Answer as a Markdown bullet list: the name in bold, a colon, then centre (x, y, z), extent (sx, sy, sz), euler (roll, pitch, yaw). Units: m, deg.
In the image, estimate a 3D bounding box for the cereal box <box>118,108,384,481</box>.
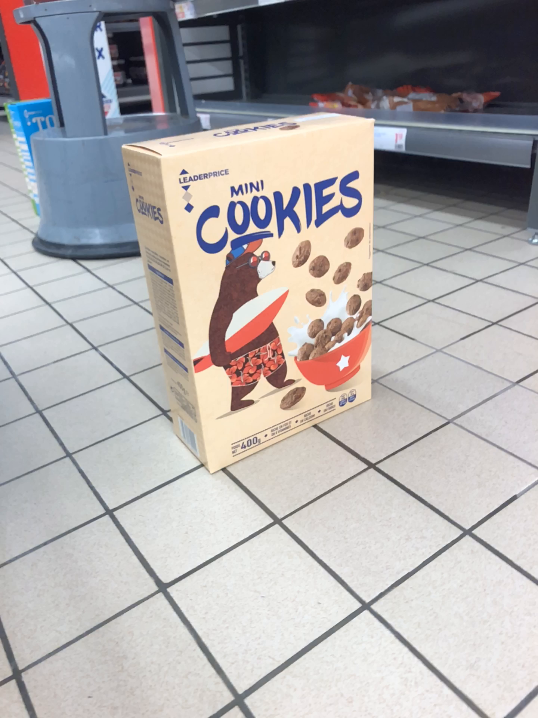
- **cereal box**: centre (-0.001, -0.062, 0.533), extent (0.201, 0.278, 0.080), euler (-20, 31, -28)
